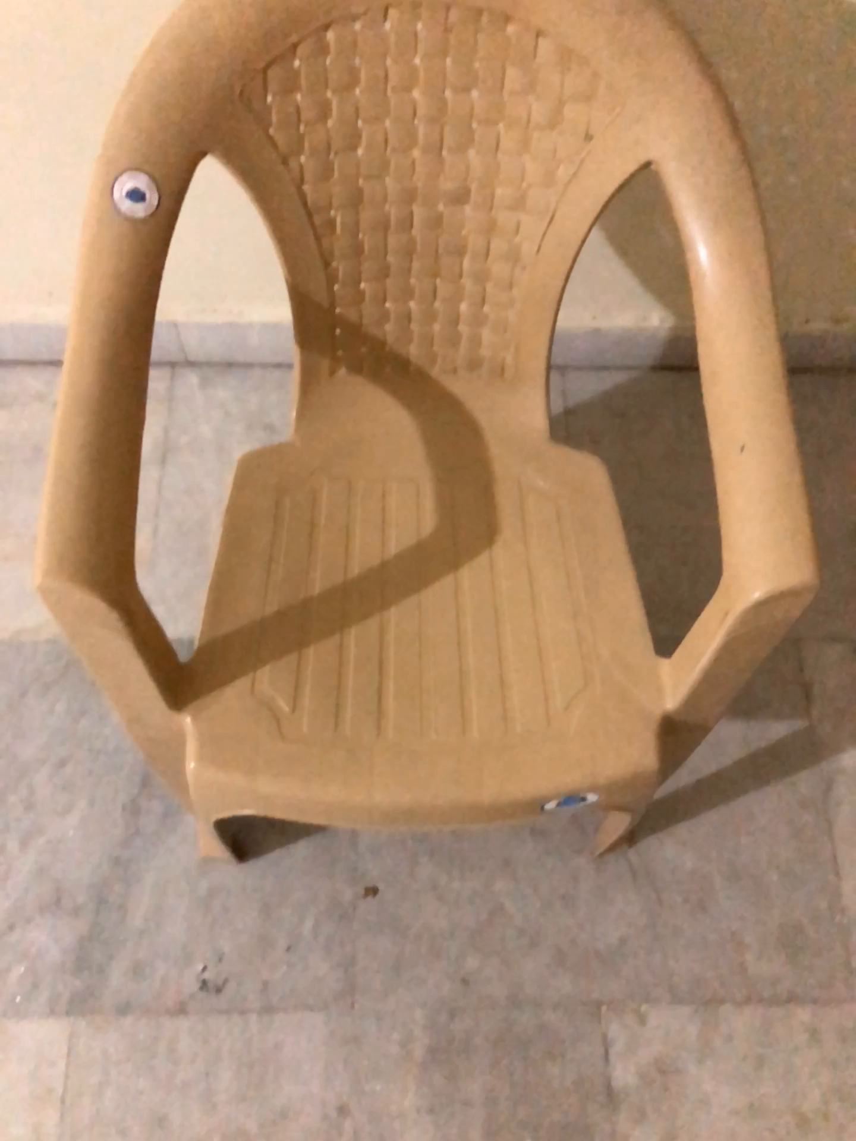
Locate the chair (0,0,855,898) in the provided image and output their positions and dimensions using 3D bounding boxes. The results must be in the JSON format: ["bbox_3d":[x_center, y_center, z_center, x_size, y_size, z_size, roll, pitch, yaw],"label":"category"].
[{"bbox_3d":[-0.018,-0.061,0.883,0.590,0.747,0.602,-1,65,-3],"label":"chair"}]
